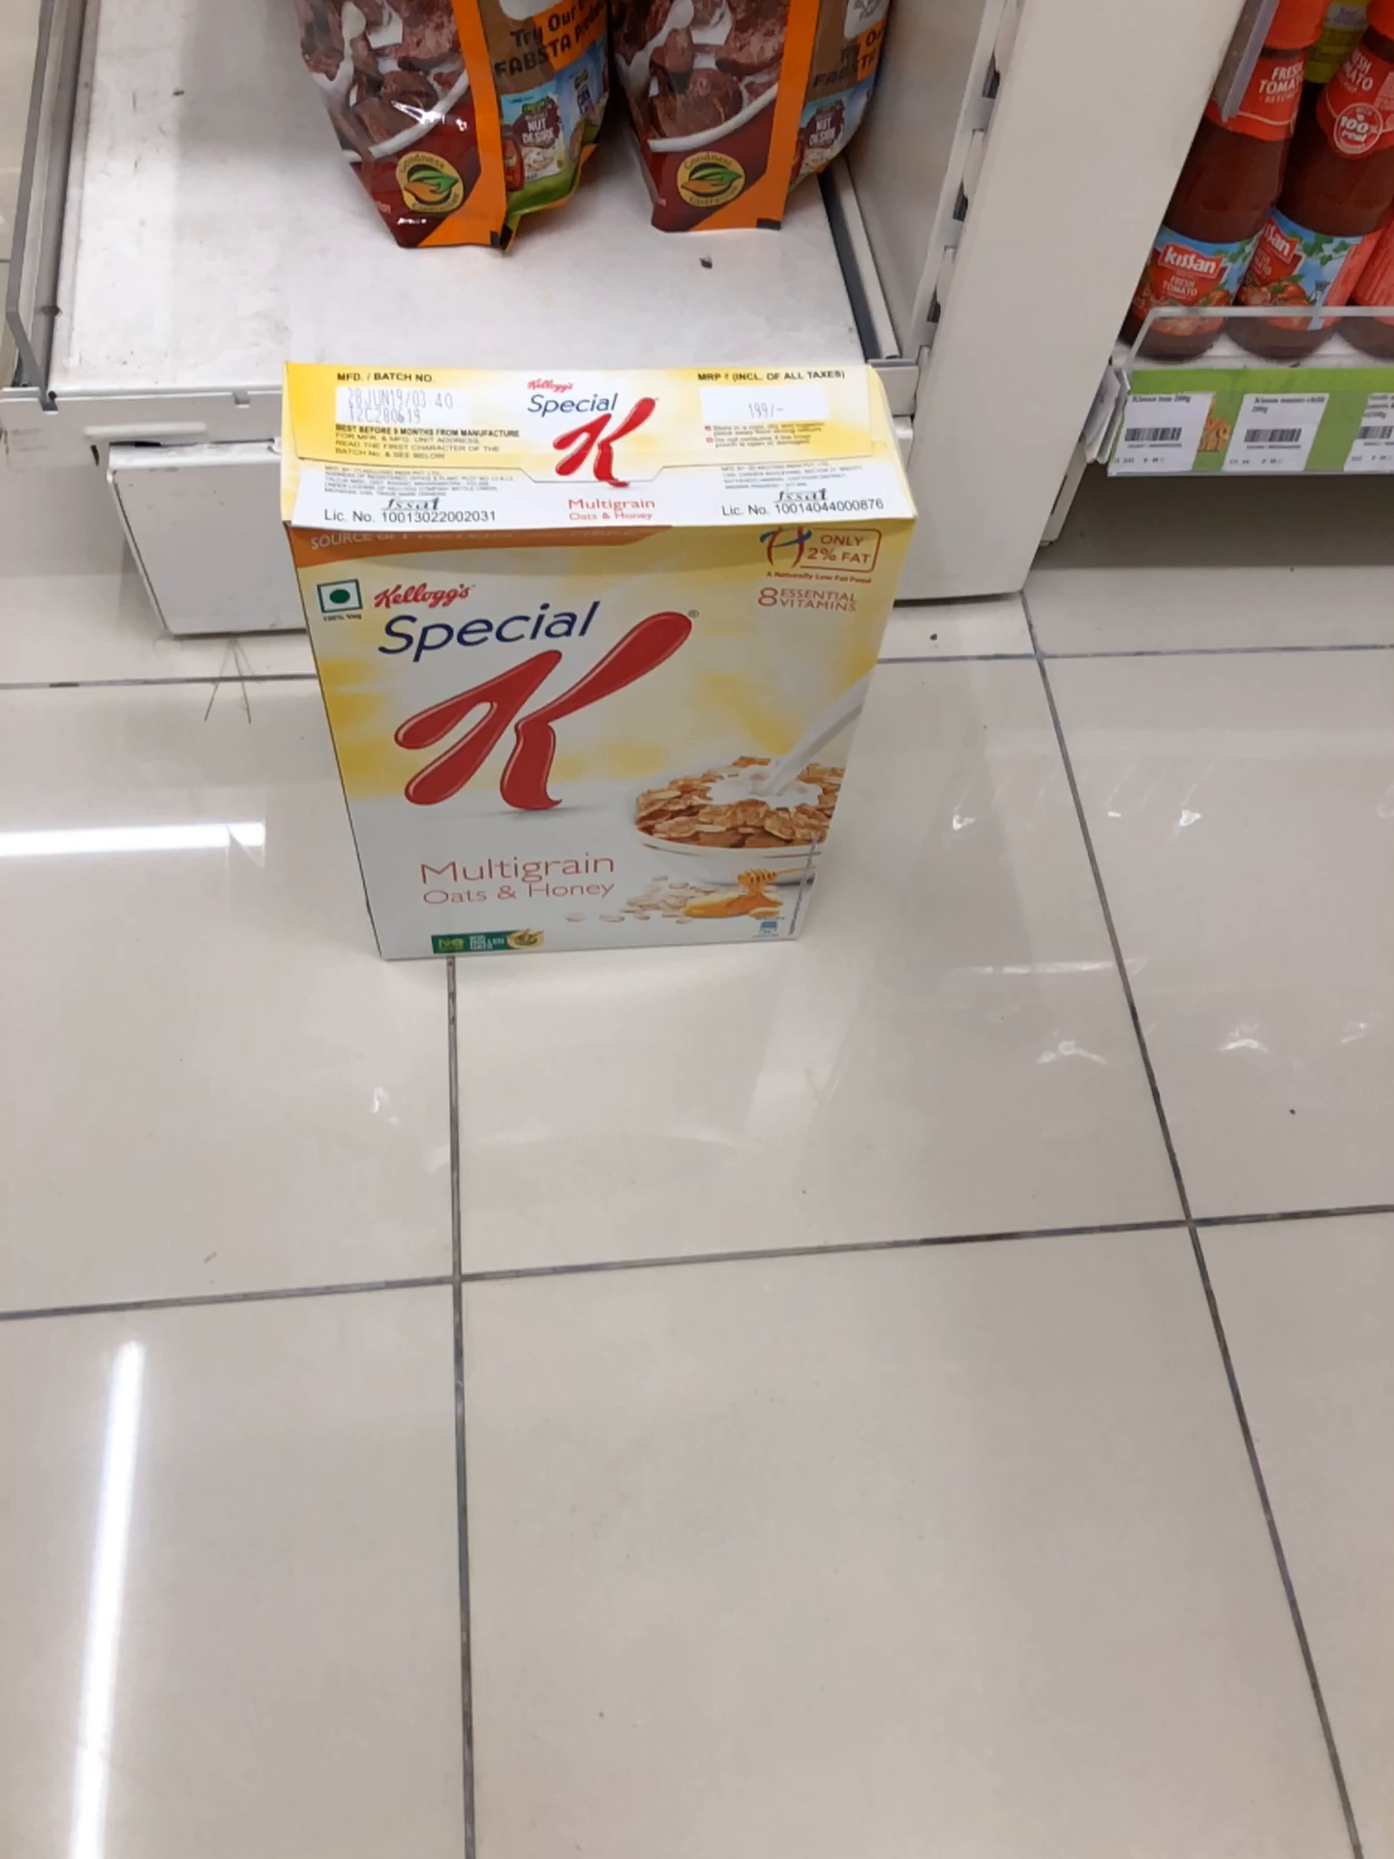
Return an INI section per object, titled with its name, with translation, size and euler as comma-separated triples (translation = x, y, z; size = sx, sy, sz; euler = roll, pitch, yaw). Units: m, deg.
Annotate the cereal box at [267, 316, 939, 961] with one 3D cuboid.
[cereal box]
translation = -0.041, -0.089, 0.565
size = 0.190, 0.269, 0.070
euler = -4, 61, -9
